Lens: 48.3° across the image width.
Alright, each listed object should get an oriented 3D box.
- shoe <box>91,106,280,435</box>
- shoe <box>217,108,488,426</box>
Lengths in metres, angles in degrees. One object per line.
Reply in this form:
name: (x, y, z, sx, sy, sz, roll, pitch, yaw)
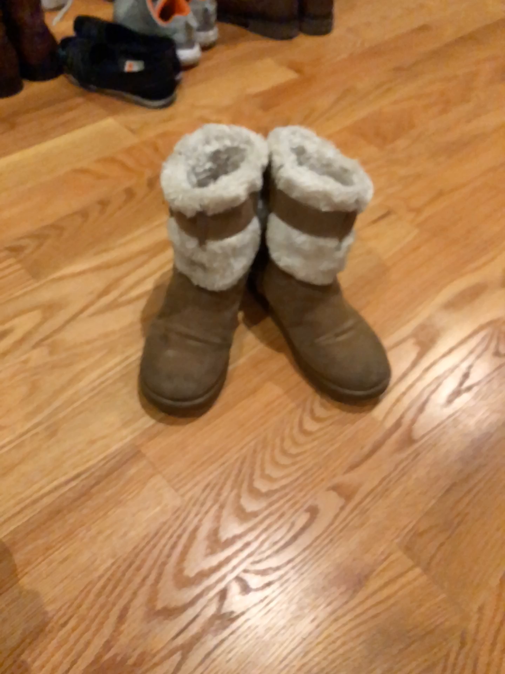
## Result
shoe: (-0.054, -0.069, 0.569, 0.106, 0.193, 0.256, 11, 51, 2)
shoe: (0.078, -0.077, 0.595, 0.113, 0.193, 0.255, -22, 57, -23)
